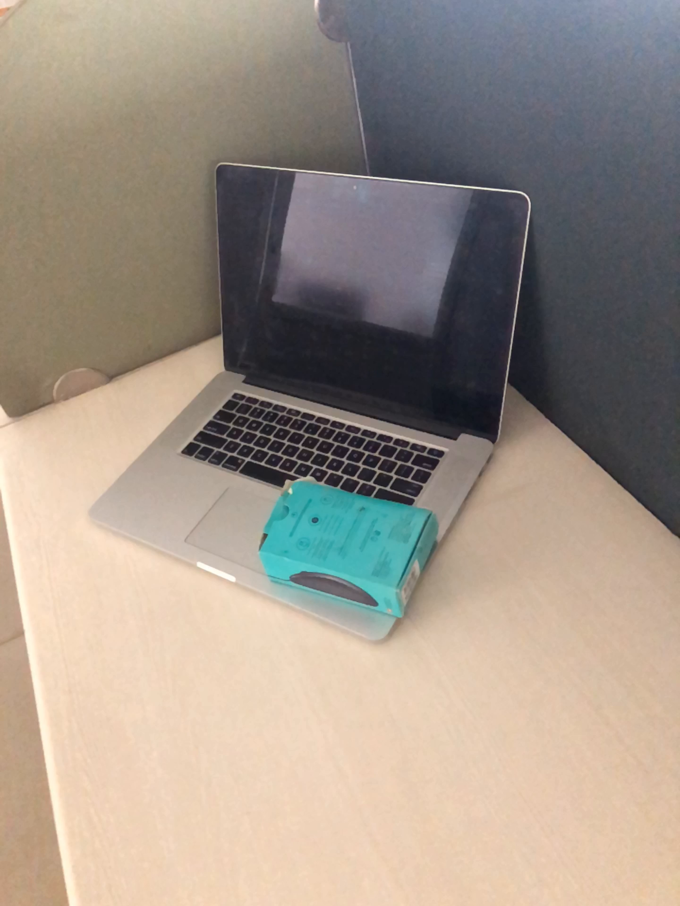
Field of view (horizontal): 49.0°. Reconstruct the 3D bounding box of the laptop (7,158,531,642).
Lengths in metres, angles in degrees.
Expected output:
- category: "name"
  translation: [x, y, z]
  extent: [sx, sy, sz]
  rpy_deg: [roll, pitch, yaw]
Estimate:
- category: "laptop"
  translation: [-0.042, -0.082, 0.701]
  extent: [0.329, 0.200, 0.339]
  rpy_deg: [18, 54, 30]
